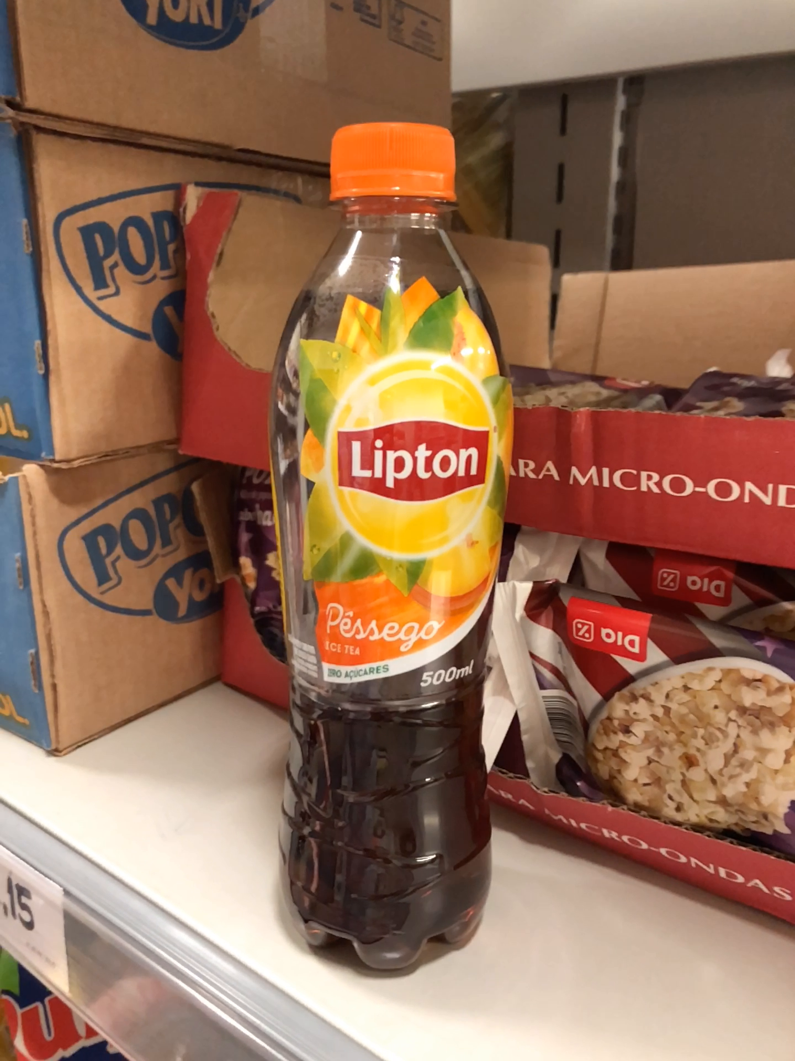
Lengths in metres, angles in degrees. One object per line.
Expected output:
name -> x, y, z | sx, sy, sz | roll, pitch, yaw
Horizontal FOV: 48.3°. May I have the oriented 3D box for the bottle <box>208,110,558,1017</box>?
bottle -> -0.006, 0.011, 0.241 | 0.070, 0.219, 0.070 | -1, 17, 0
